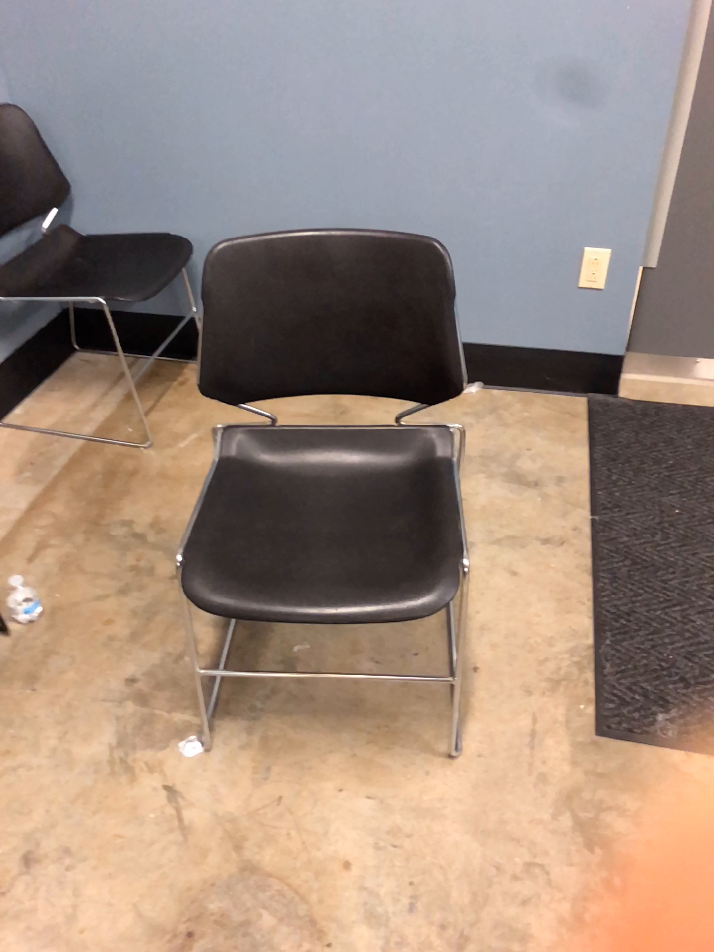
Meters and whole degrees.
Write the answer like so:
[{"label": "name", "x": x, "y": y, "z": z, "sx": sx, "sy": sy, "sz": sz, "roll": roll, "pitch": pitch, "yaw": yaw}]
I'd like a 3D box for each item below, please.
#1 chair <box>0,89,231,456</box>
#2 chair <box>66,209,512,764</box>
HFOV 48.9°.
[{"label": "chair", "x": -0.779, "y": -0.574, "z": 2.183, "sx": 0.595, "sy": 0.800, "sz": 0.552, "roll": 7, "pitch": 38, "yaw": 12}, {"label": "chair", "x": -0.058, "y": 0.025, "z": 1.385, "sx": 0.531, "sy": 0.800, "sz": 0.546, "roll": 1, "pitch": 37, "yaw": 4}]
